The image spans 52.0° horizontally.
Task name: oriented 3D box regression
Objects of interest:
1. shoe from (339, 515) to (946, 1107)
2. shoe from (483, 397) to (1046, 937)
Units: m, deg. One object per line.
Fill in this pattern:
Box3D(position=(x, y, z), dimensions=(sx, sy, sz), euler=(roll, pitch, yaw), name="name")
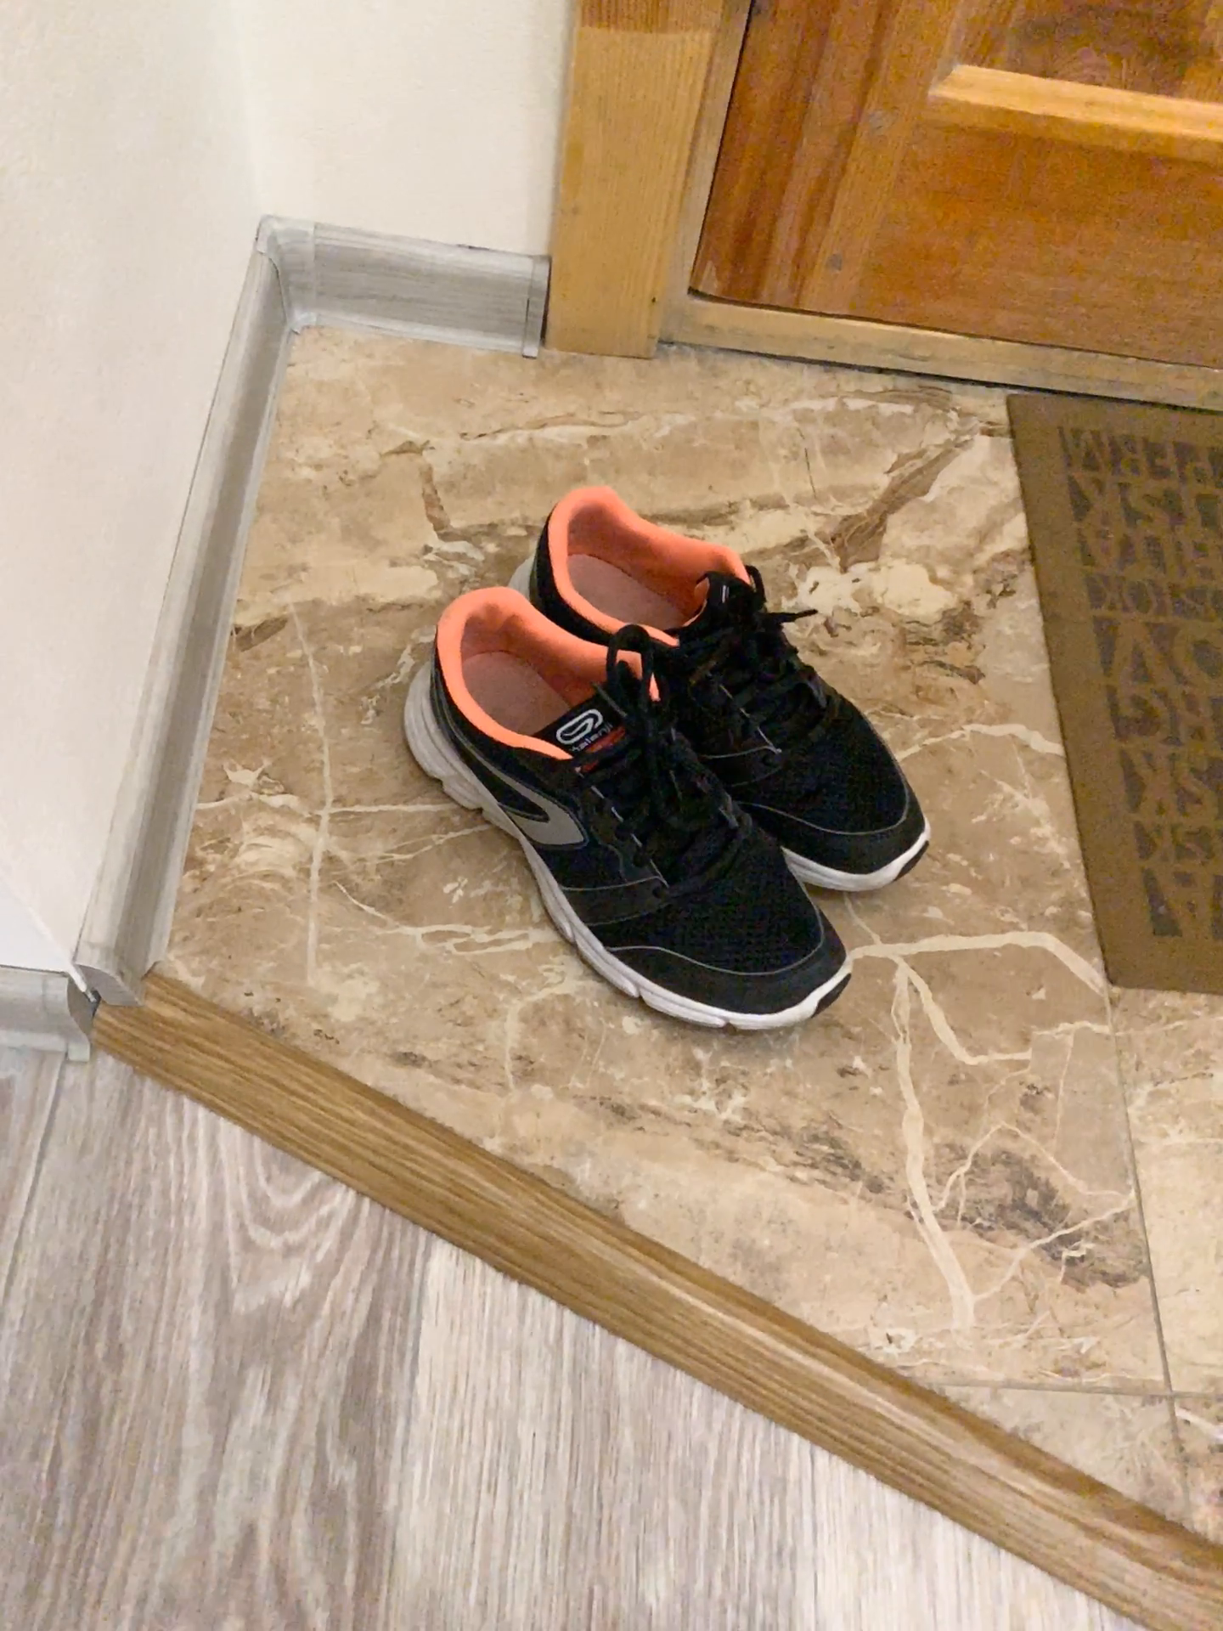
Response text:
Box3D(position=(0.005, -0.004, 0.564), dimensions=(0.250, 0.100, 0.100), euler=(40, 64, 13), name="shoe")
Box3D(position=(0.063, -0.073, 0.606), dimensions=(0.244, 0.100, 0.100), euler=(40, 64, 13), name="shoe")
